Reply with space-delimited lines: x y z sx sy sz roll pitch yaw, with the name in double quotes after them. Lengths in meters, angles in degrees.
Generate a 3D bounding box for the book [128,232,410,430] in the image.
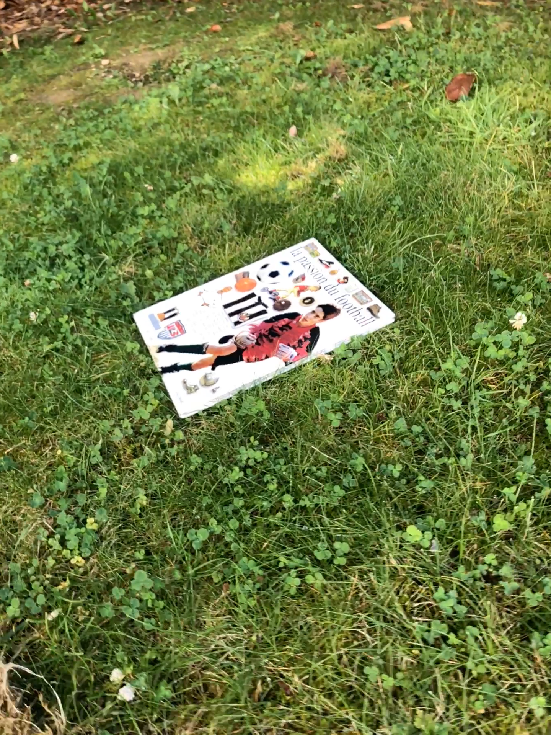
-0.019 -0.064 0.783 0.300 0.020 0.231 -24 43 -10 "book"
